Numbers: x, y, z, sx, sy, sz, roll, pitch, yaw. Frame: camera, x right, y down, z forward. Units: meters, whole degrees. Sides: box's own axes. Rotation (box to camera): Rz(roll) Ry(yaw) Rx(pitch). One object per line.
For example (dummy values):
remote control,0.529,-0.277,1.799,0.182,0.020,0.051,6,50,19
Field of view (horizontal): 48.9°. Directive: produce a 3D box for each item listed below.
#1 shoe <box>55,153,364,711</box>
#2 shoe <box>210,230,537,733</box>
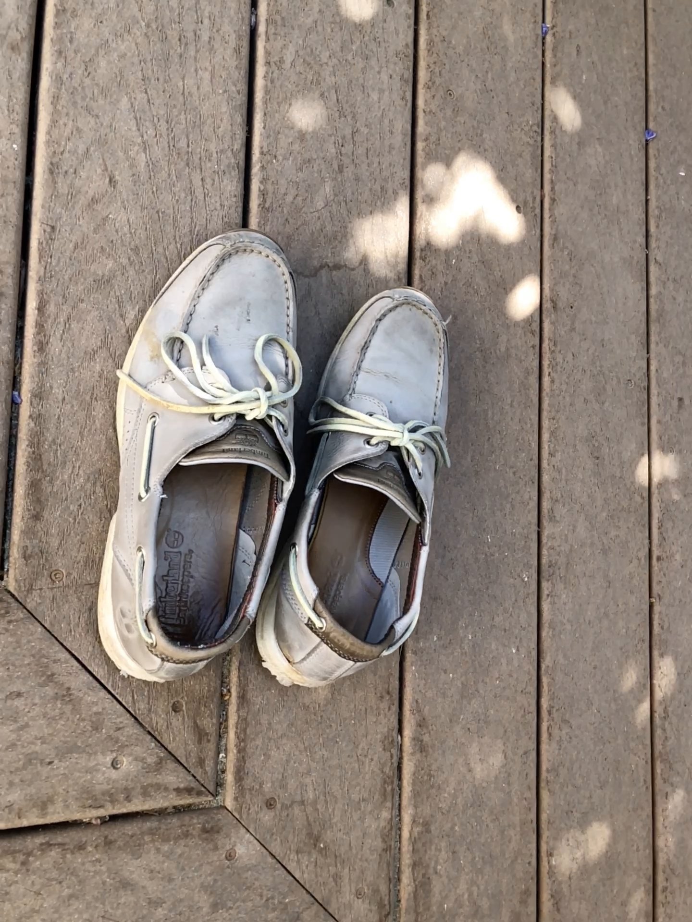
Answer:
shoe,-0.085,-0.012,0.486,0.119,0.096,0.310,14,79,-28
shoe,0.025,0.013,0.547,0.122,0.097,0.312,24,74,-26
